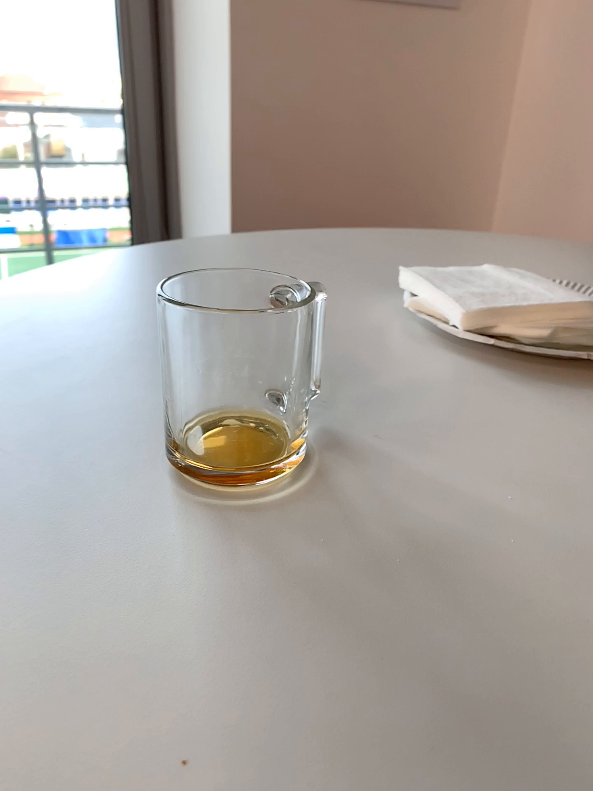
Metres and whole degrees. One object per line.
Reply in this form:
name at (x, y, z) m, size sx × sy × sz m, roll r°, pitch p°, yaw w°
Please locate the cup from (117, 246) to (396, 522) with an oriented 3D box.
cup at (-0.018, -0.015, 0.305) m, size 0.082 × 0.090 × 0.102 m, roll 23°, pitch 32°, yaw 36°
